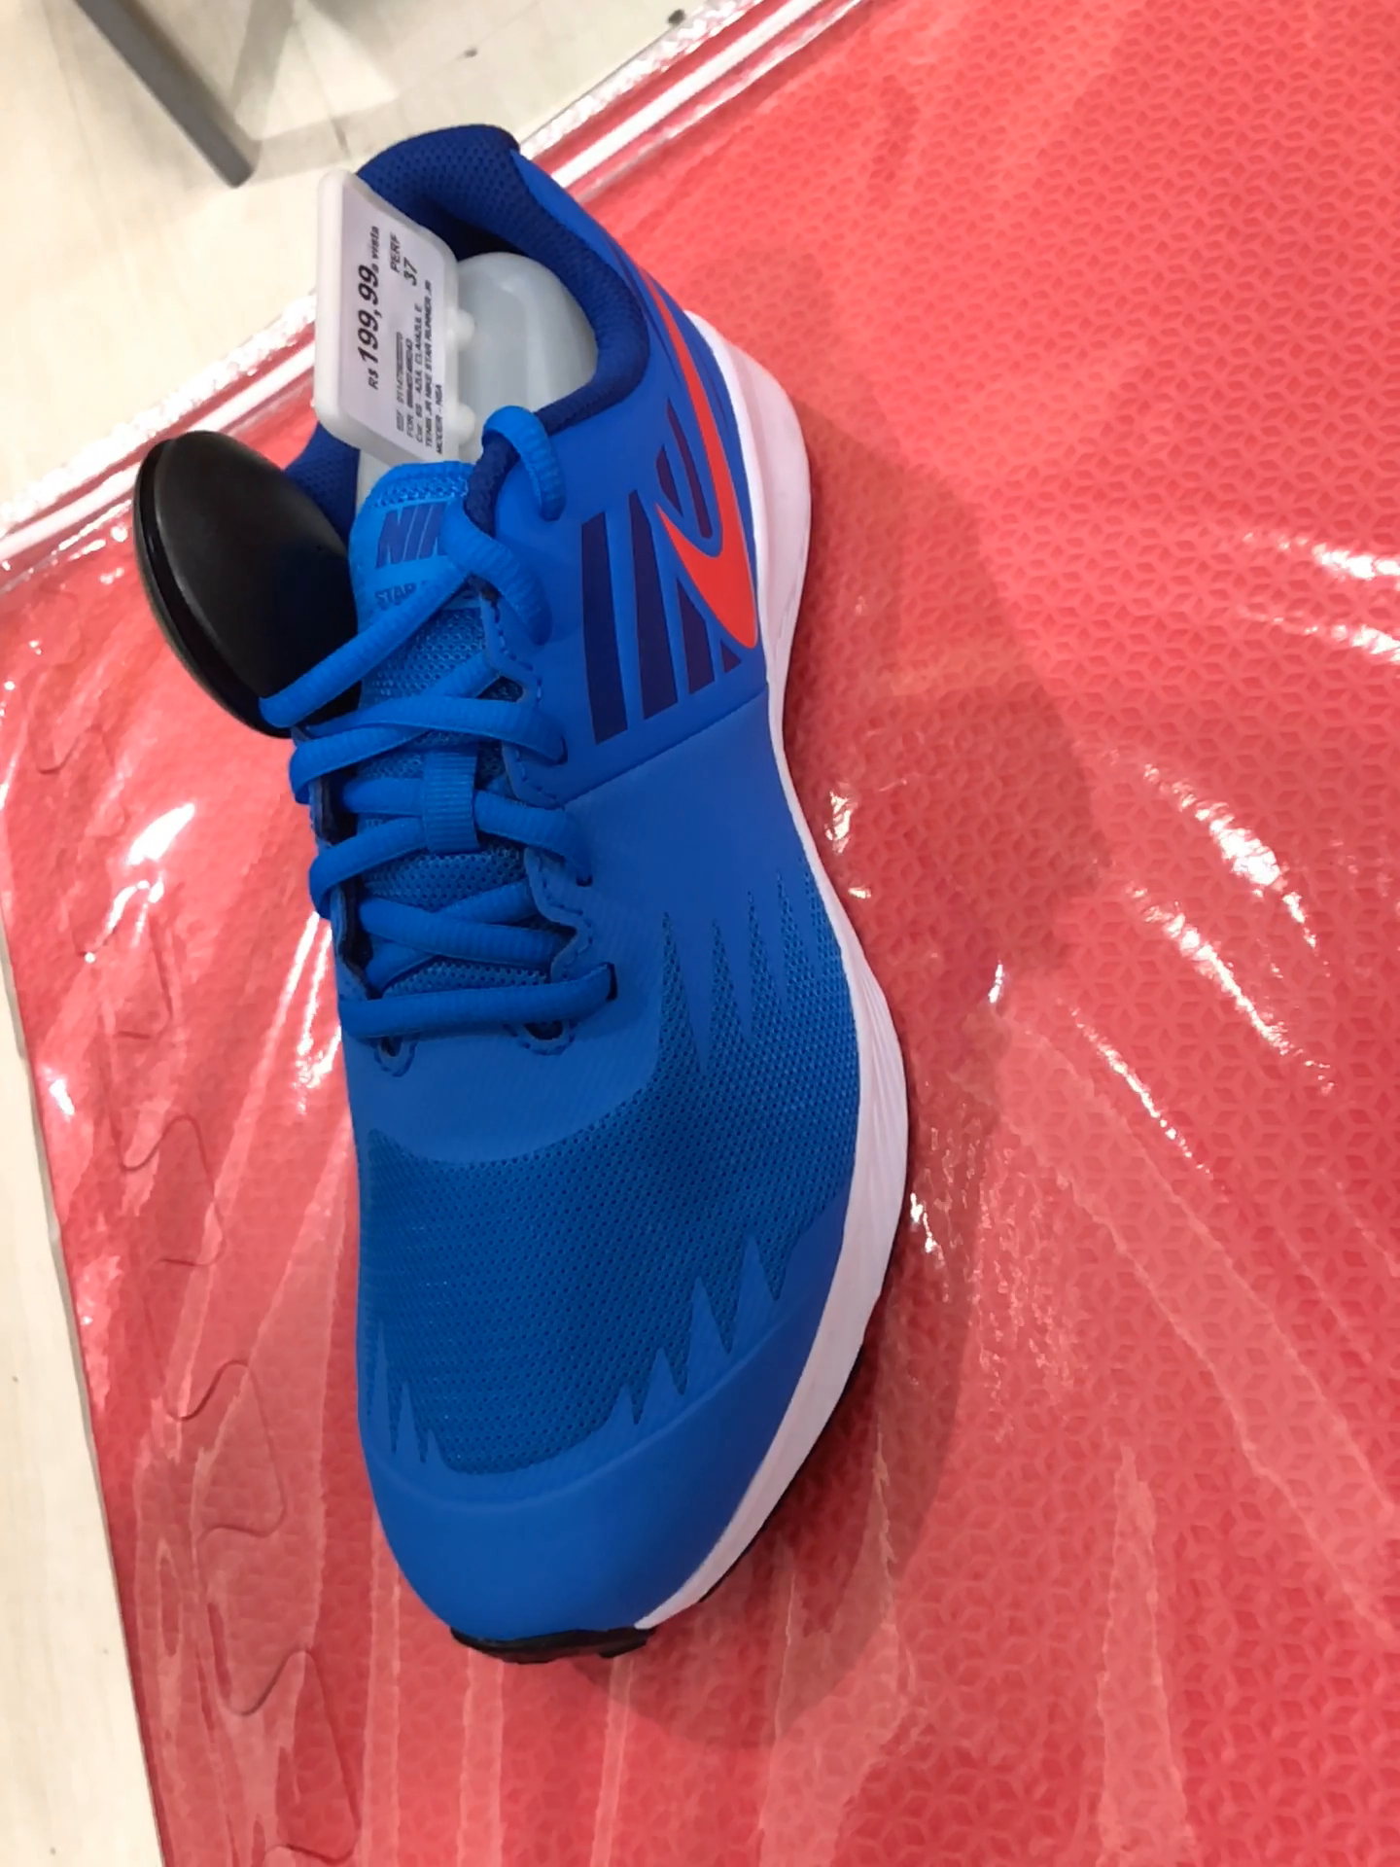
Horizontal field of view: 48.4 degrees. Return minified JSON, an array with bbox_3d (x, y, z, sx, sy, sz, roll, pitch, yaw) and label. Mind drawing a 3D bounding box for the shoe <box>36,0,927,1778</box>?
[{"bbox_3d":[-0.019,-0.014,0.287,0.100,0.100,0.281,-5,68,21],"label":"shoe"}]
